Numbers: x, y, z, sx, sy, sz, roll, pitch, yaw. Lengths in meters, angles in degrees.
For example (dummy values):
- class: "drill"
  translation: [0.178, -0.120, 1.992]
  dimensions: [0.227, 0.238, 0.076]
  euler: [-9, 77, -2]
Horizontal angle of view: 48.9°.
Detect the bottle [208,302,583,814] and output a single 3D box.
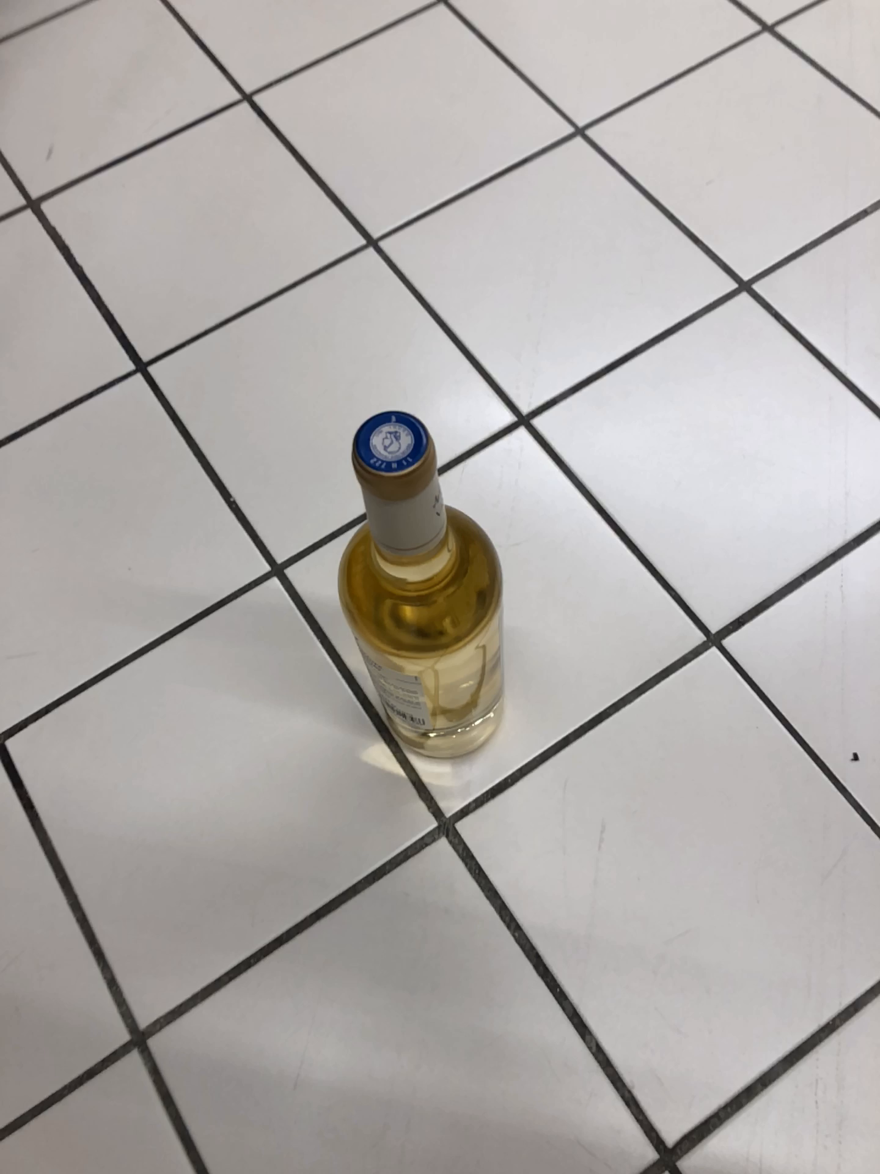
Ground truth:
- class: "bottle"
  translation: [-0.009, 0.014, 0.456]
  dimensions: [0.090, 0.289, 0.090]
  euler: [-1, 66, 3]
